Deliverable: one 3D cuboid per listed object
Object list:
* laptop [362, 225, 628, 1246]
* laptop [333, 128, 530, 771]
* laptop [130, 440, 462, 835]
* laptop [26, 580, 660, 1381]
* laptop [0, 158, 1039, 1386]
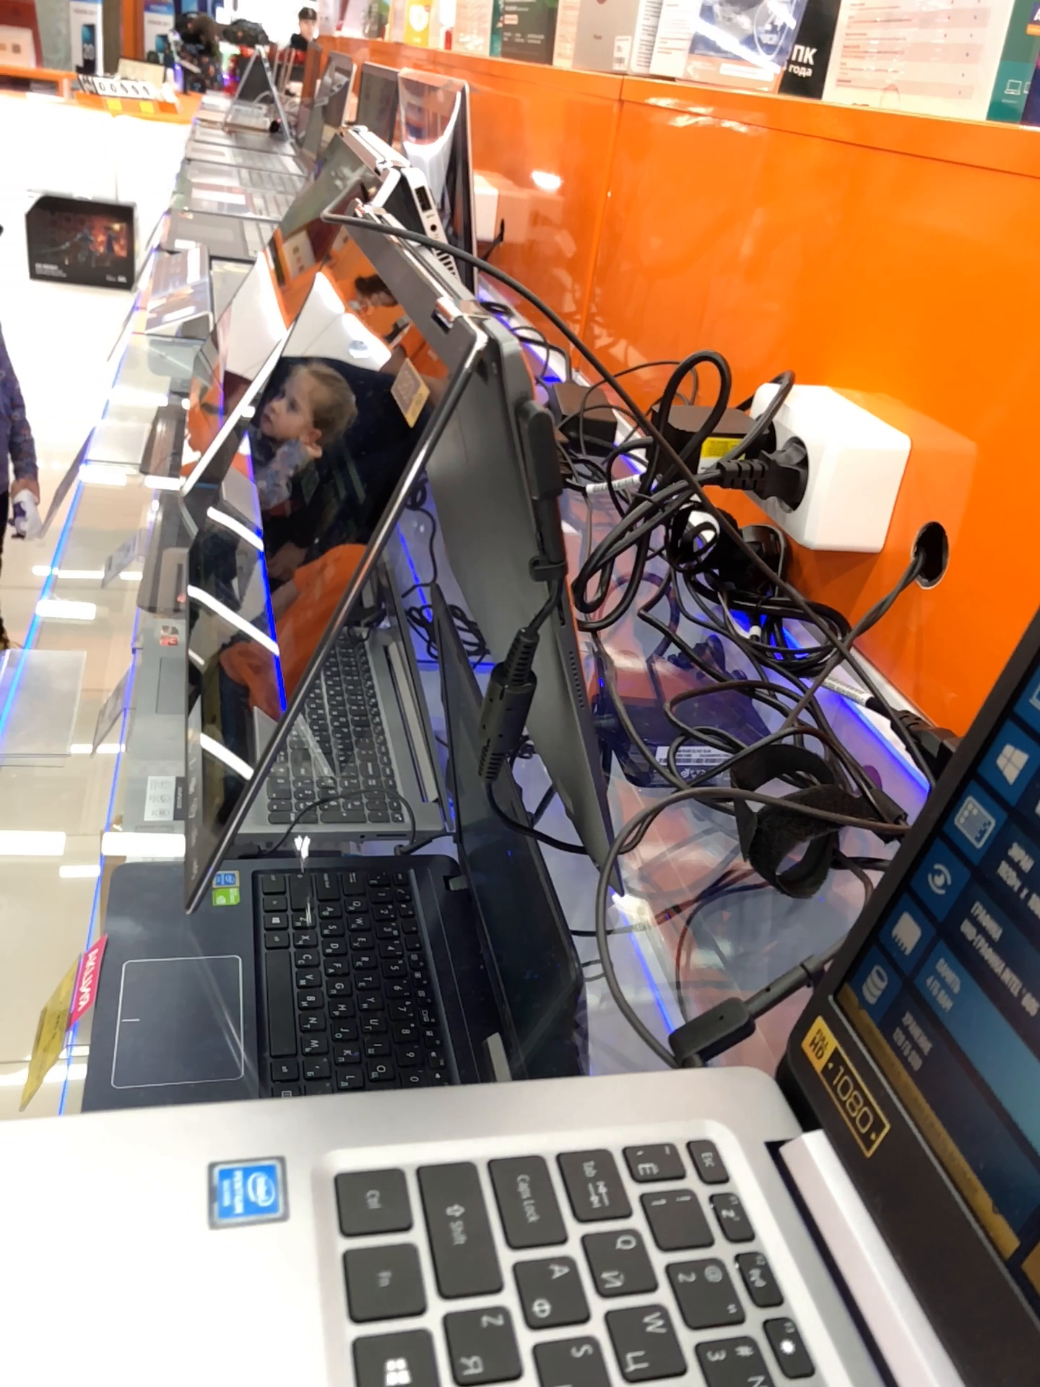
[{"bbox_3d":[-0.024,0.006,0.513,0.181,0.142,0.278,41,13,-26],"label":"laptop"},{"bbox_3d":[-0.075,-0.187,0.839,0.182,0.148,0.300,37,14,-30],"label":"laptop"},{"bbox_3d":[-0.209,-0.067,0.985,0.222,0.202,0.364,-1,28,-13],"label":"laptop"},{"bbox_3d":[-0.114,0.123,0.636,0.238,0.222,0.362,2,28,-16],"label":"laptop"},{"bbox_3d":[0.055,0.102,0.106,0.272,0.209,0.351,0,30,-17],"label":"laptop"}]
